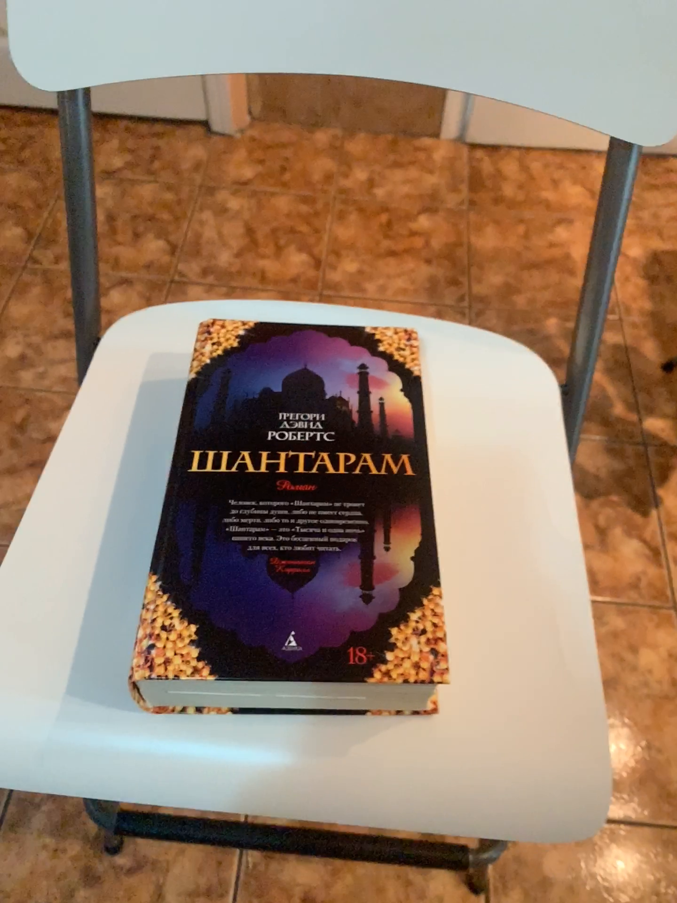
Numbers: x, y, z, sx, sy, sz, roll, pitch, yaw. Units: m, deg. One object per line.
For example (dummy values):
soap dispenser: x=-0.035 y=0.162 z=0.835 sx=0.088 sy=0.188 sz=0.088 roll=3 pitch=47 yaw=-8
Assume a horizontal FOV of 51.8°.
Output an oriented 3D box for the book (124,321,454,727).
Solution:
book: x=-0.021 y=0.026 z=0.395 sx=0.145 sy=0.044 sz=0.237 roll=1 pitch=53 yaw=-1
